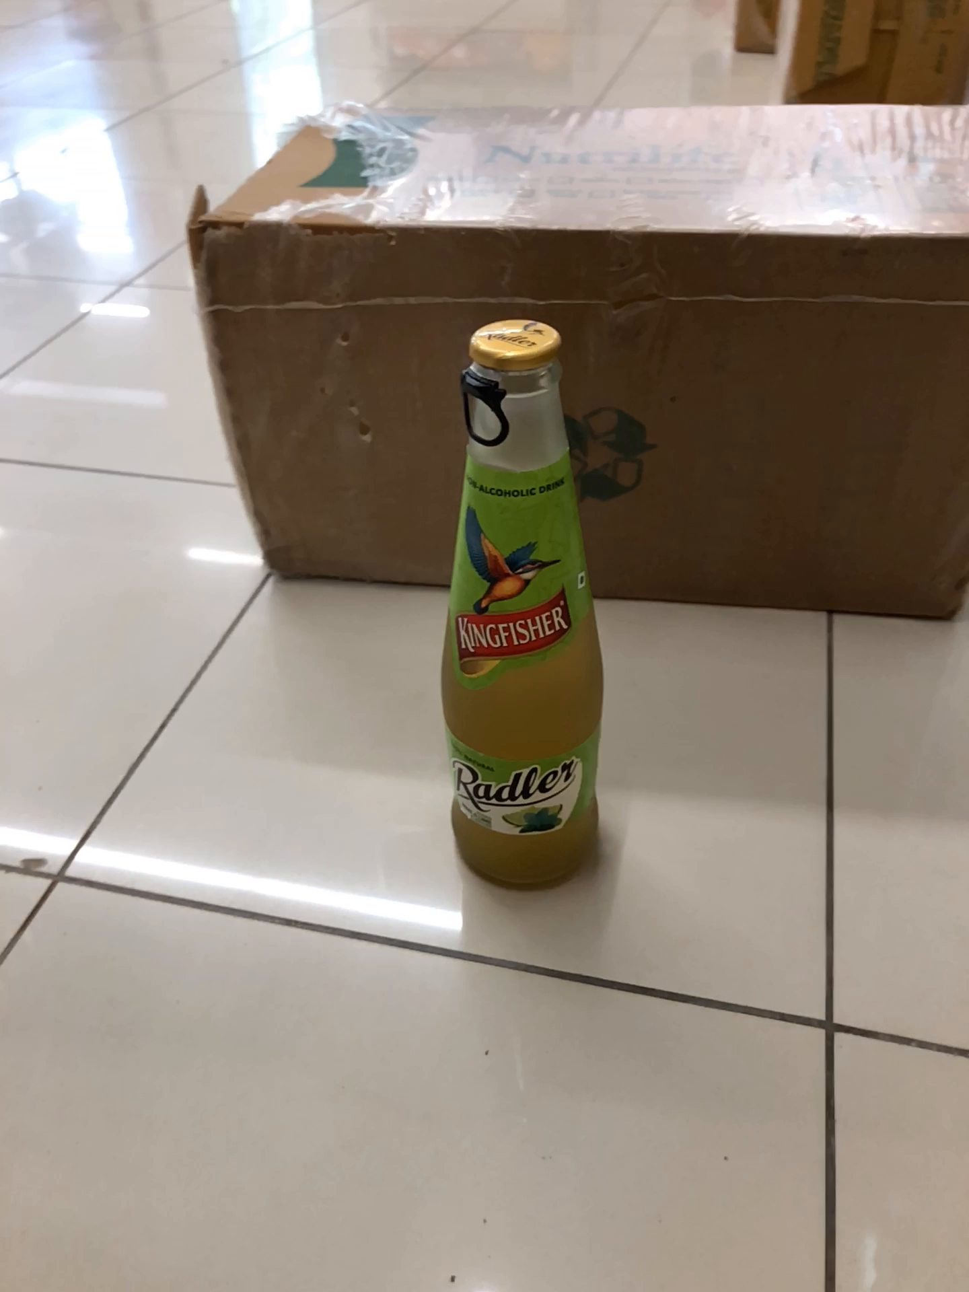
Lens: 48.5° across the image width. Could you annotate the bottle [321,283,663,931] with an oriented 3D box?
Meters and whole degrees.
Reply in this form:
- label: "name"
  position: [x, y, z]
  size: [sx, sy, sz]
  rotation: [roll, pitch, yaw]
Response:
- label: "bottle"
  position: [0.010, -0.006, 0.356]
  size: [0.080, 0.199, 0.081]
  rotation: [-2, 38, 1]
